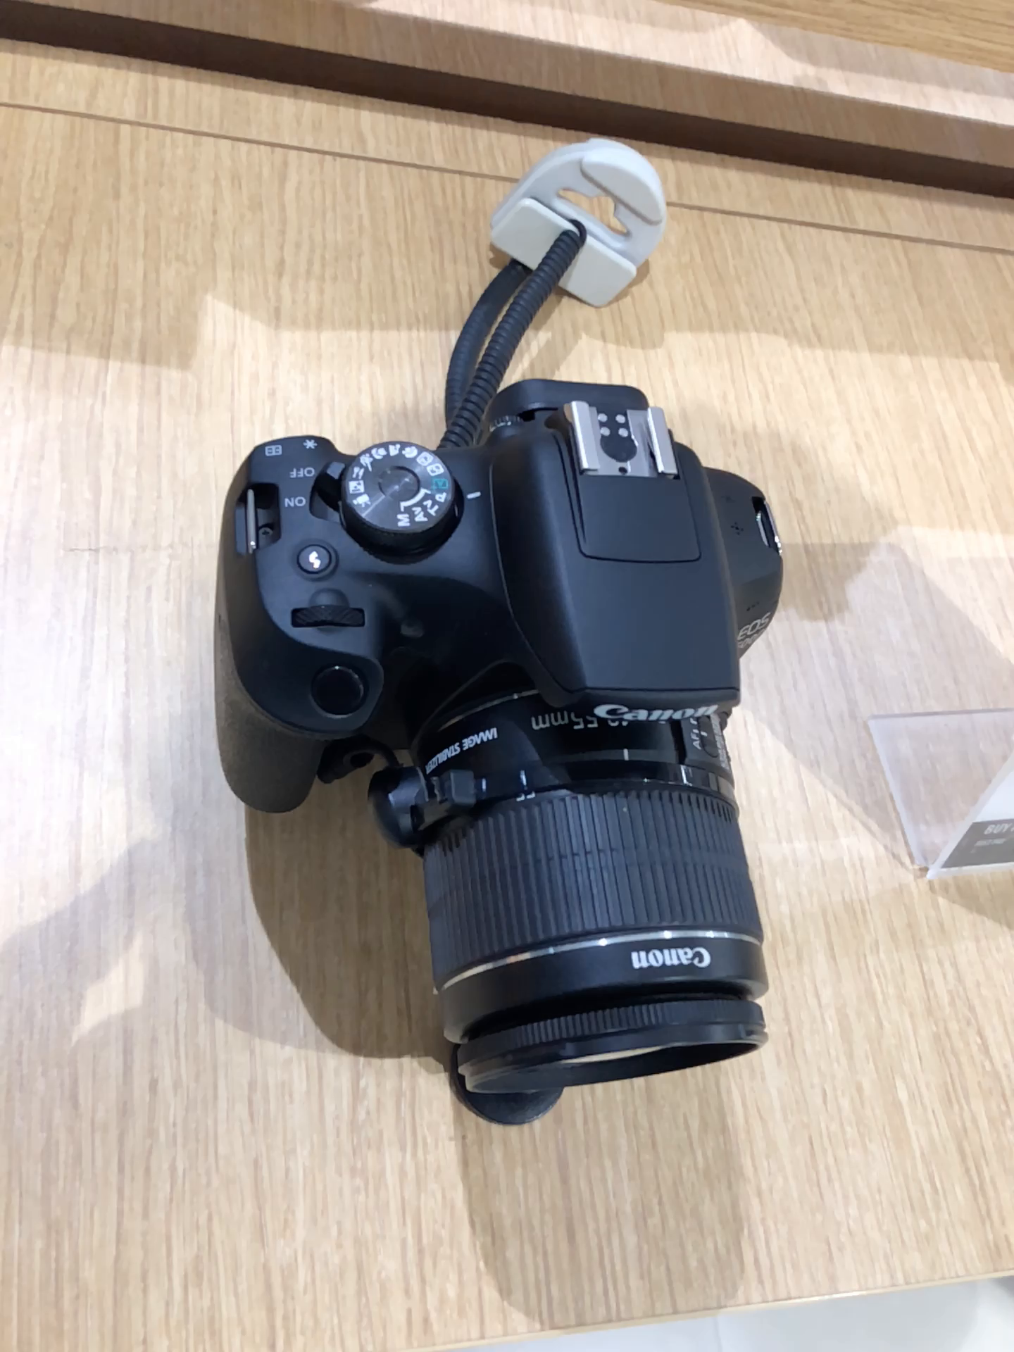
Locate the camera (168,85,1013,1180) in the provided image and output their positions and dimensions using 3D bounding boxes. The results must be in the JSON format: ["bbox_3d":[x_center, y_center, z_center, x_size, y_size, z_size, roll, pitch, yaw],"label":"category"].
[{"bbox_3d":[0.004,-0.011,0.240,0.140,0.100,0.191,-2,63,-17],"label":"camera"}]
